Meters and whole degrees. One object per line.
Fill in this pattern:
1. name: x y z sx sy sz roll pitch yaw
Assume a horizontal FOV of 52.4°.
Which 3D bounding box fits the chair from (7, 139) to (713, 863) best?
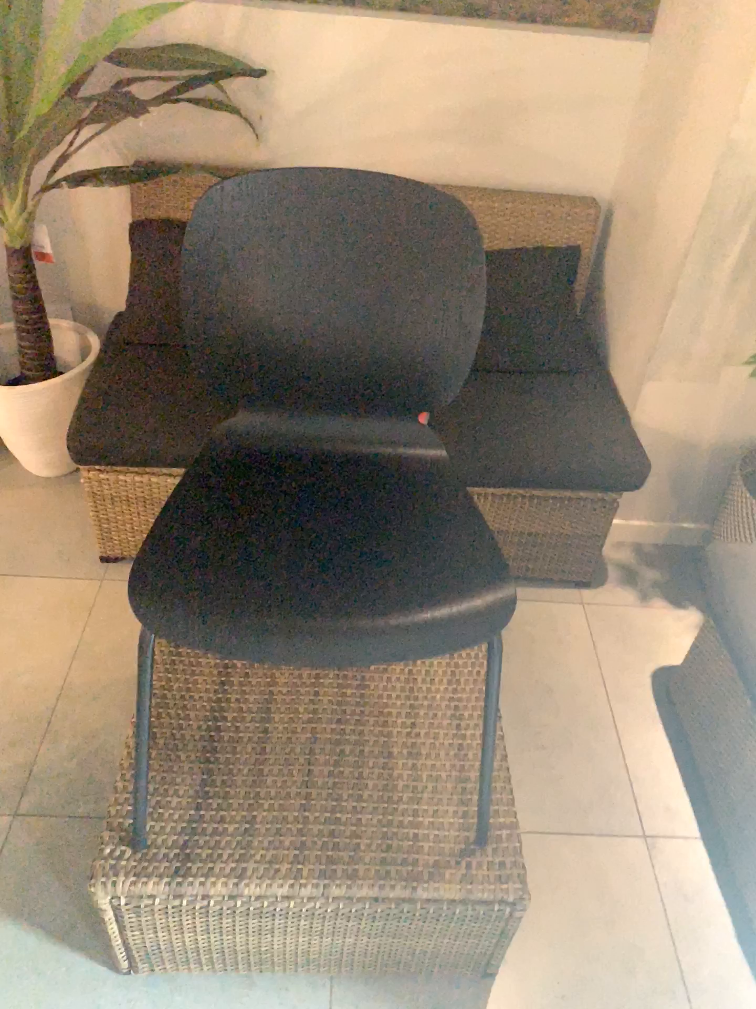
1. chair: -0.051 0.020 1.035 0.530 0.767 0.562 2 40 -6
